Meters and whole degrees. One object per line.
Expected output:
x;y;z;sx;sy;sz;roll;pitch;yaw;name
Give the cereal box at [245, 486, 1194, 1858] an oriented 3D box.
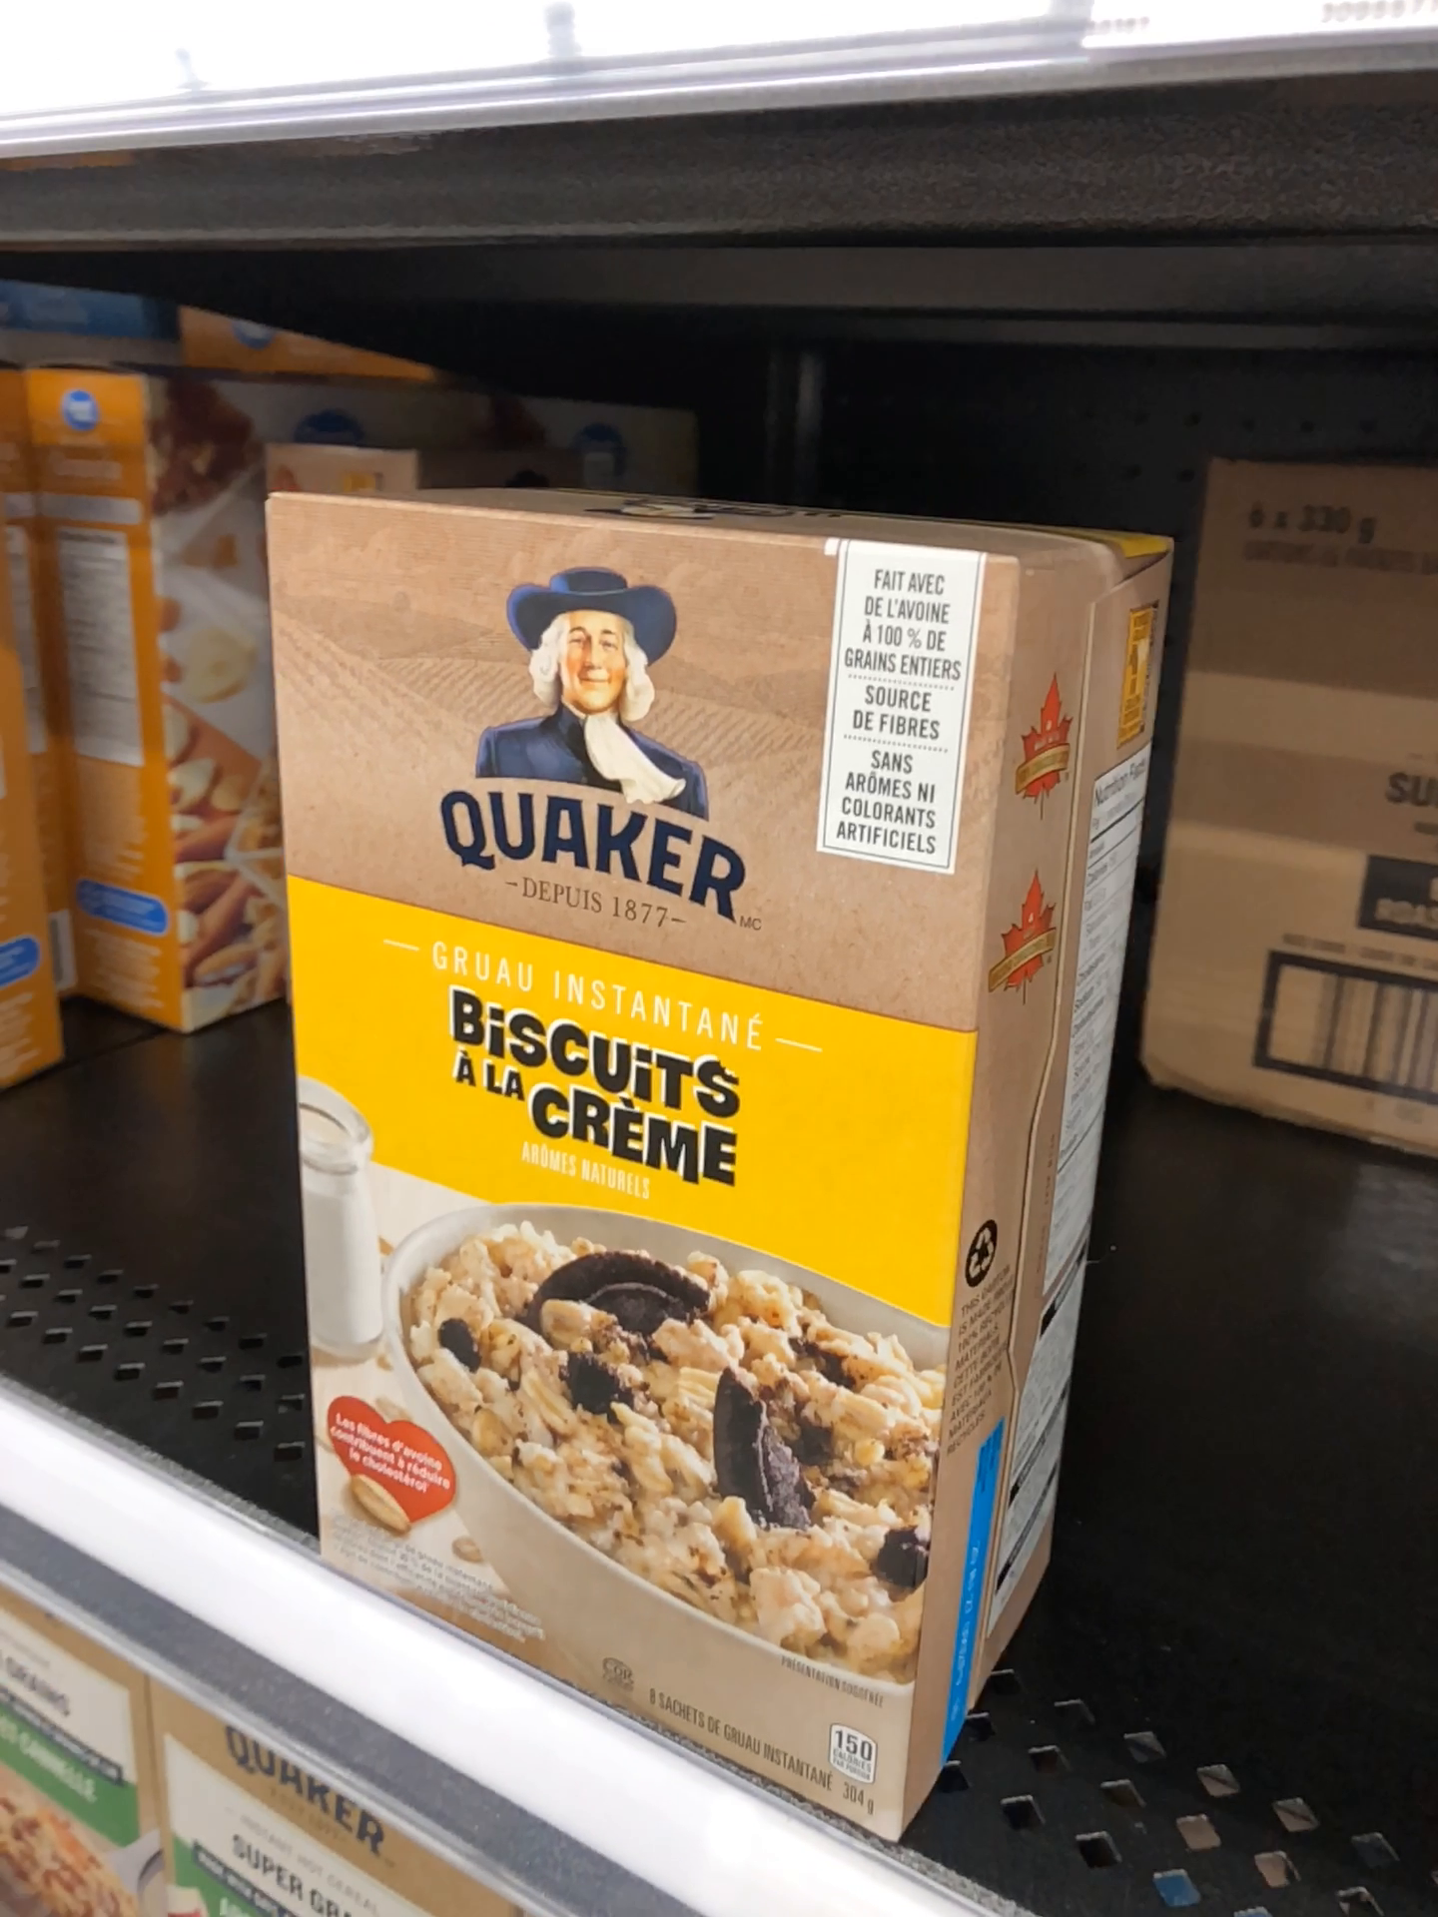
-0.003;0.022;0.272;0.120;0.189;0.080;13;21;29;cereal box
